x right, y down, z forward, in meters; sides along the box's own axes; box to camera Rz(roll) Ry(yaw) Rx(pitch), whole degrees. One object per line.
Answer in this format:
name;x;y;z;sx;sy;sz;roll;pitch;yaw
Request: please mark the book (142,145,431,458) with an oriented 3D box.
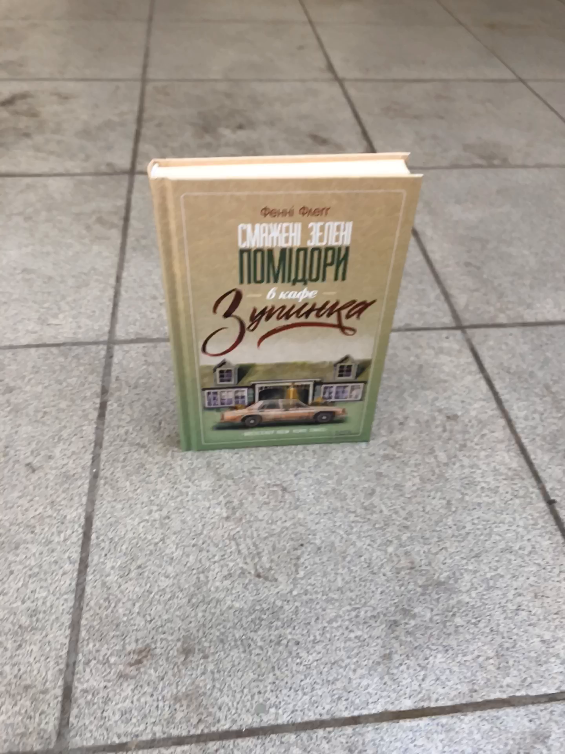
book;-0.002;-0.033;0.384;0.140;0.208;0.030;-3;43;-6
